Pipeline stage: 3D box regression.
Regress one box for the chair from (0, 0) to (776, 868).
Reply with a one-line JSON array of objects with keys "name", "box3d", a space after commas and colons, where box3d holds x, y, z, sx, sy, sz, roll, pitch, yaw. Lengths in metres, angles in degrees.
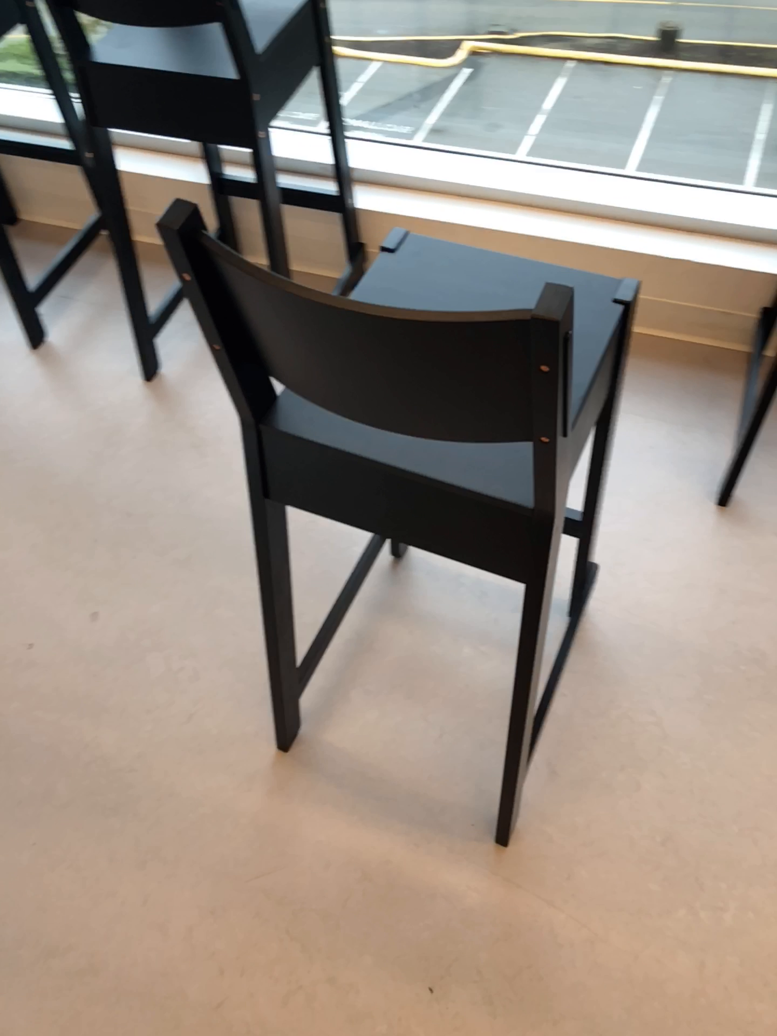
[{"name": "chair", "box3d": [0.076, -0.072, 1.133, 0.551, 0.994, 0.583, 18, 55, 17]}]
